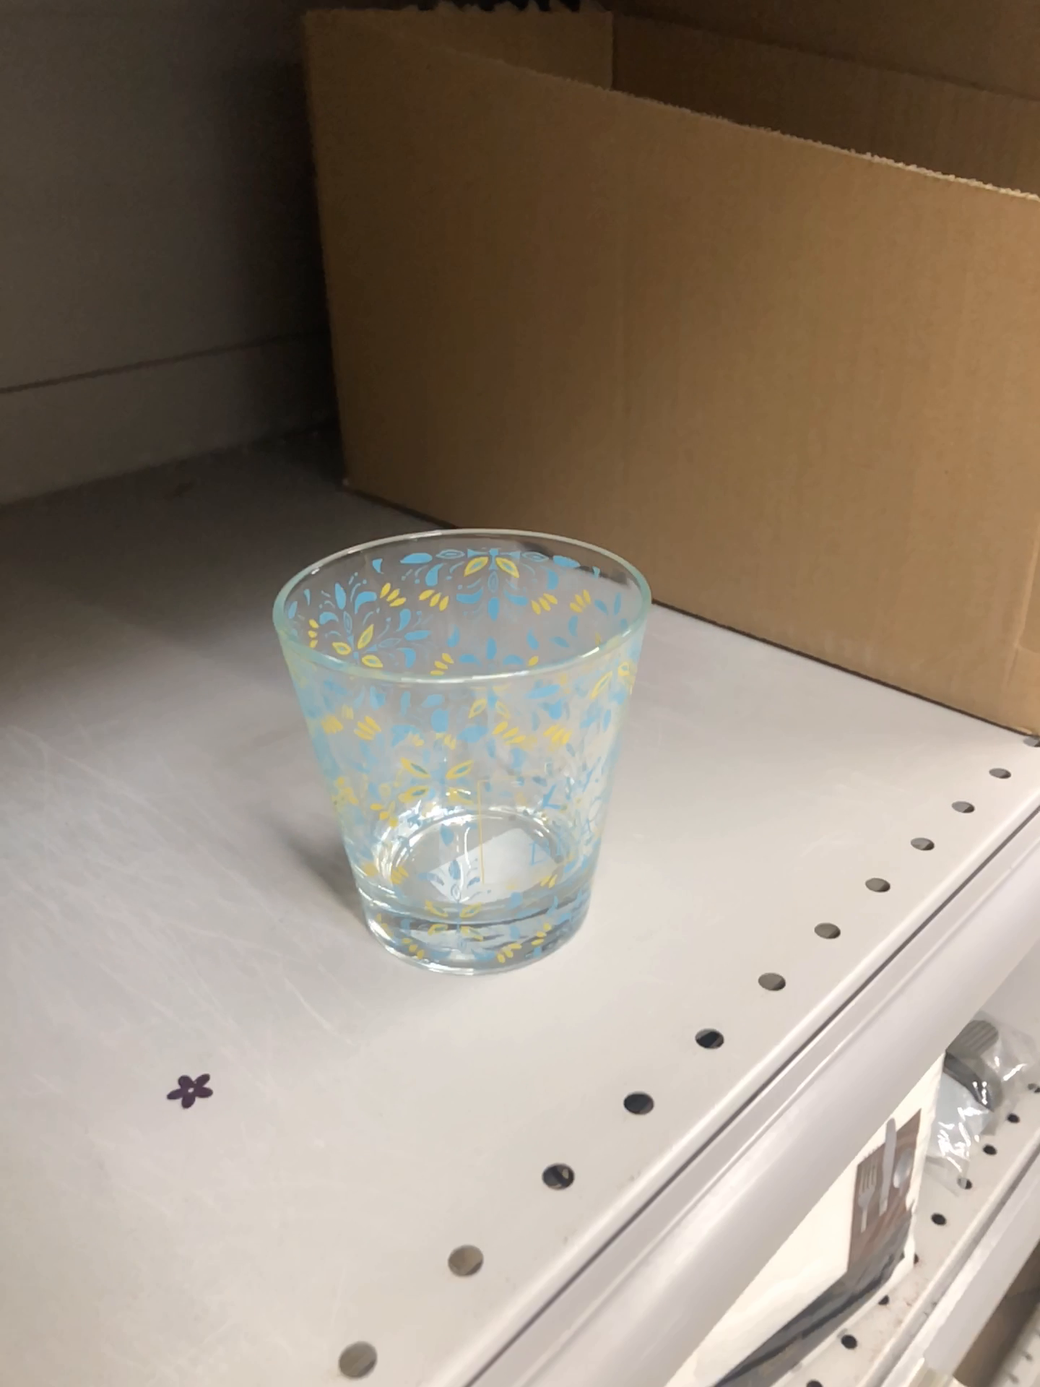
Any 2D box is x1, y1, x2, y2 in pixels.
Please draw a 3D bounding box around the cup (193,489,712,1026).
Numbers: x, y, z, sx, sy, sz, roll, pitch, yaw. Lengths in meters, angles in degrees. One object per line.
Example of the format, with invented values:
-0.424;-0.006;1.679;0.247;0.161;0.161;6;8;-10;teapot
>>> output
-0.014;0.008;0.287;0.083;0.080;0.089;2;29;-1;cup
